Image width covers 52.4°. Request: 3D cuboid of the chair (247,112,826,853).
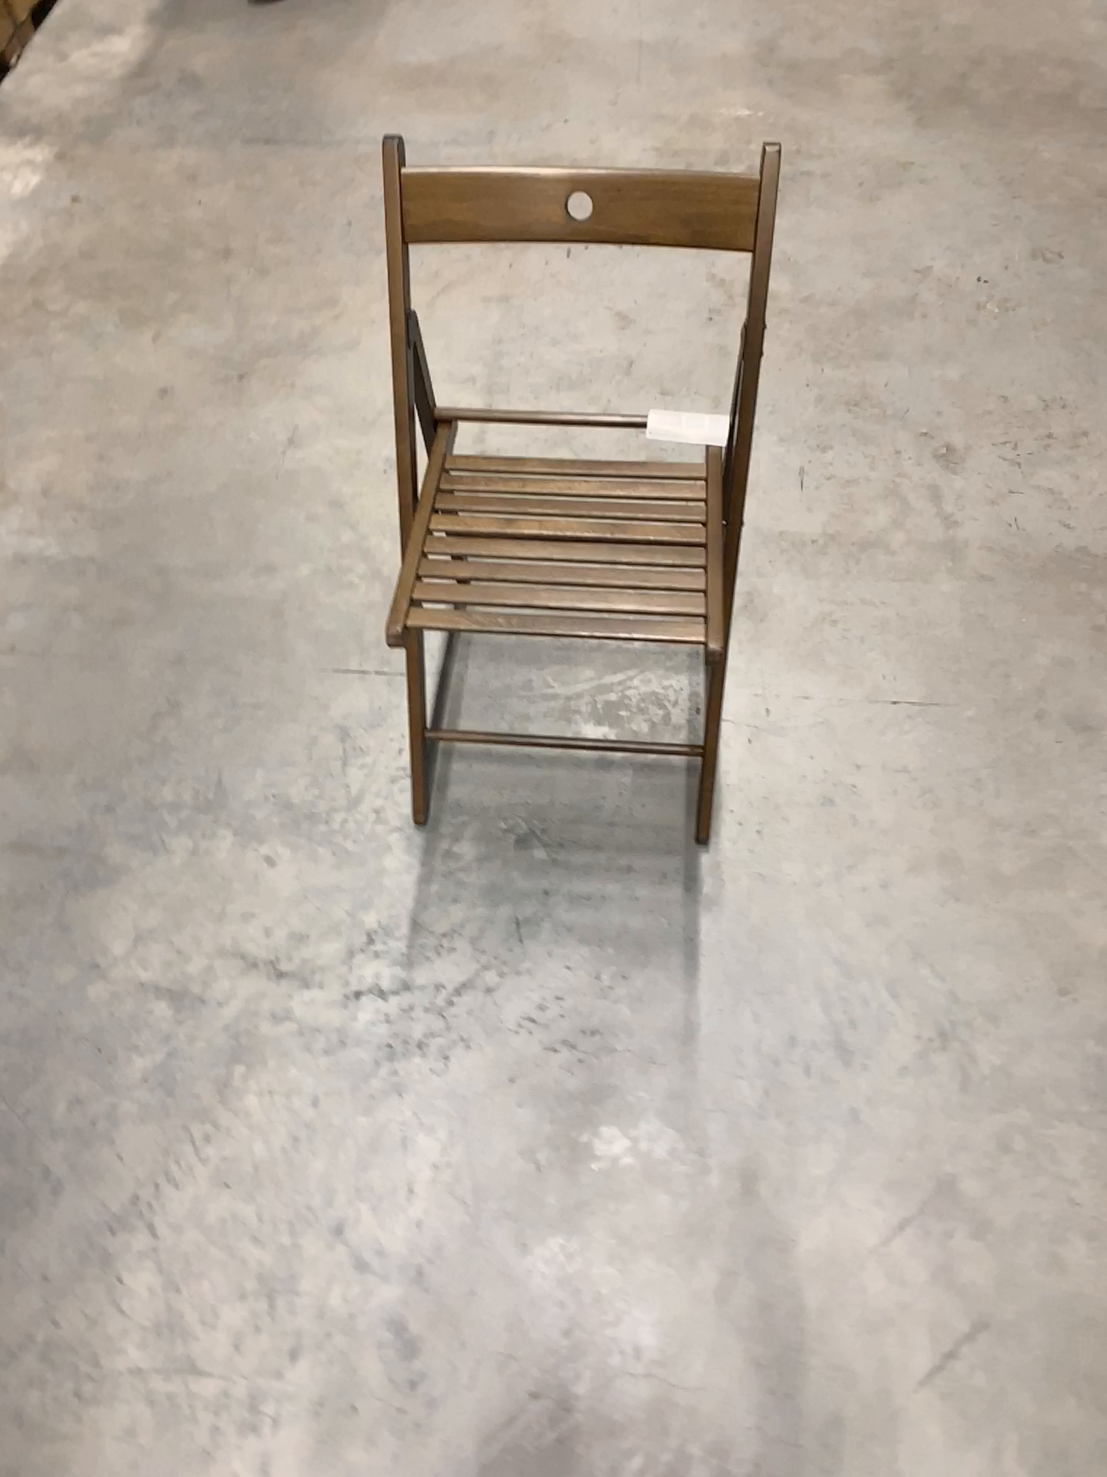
[{"bbox_3d":[0.014,-0.265,1.356,0.480,0.698,0.501,4,56,4],"label":"chair"}]
